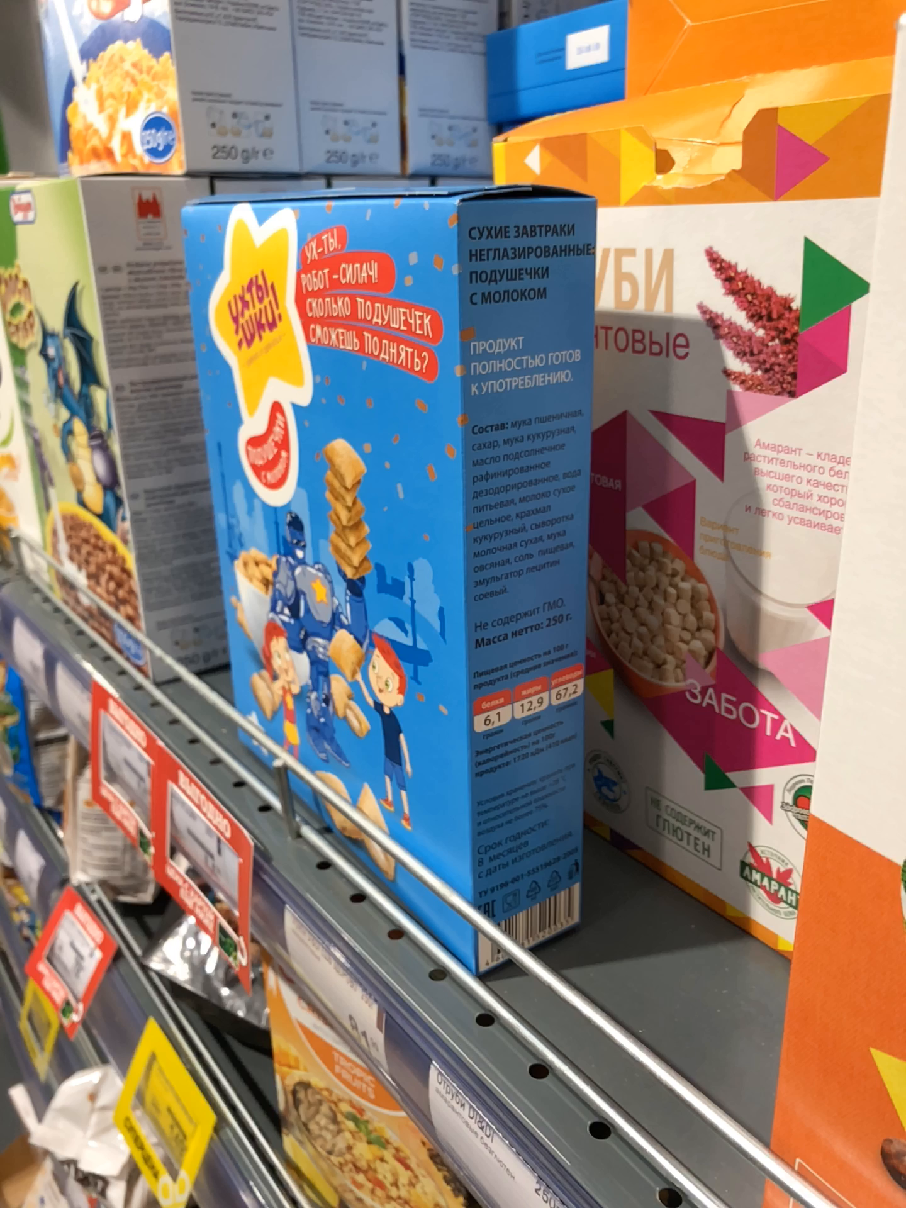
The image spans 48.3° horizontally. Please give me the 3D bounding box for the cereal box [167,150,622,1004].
[{"bbox_3d":[-0.030,-0.024,0.360,0.050,0.239,0.201,-14,24,-30],"label":"cereal box"}]
